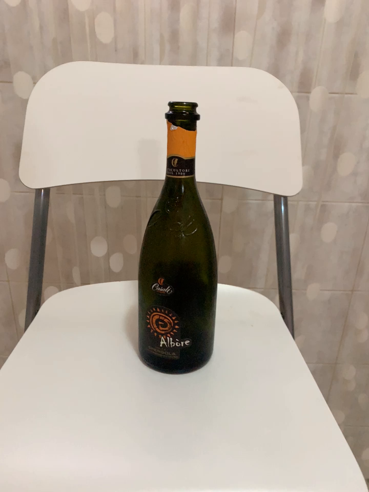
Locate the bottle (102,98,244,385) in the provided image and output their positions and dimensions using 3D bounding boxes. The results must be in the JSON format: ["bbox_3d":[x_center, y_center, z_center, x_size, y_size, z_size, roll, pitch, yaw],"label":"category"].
[{"bbox_3d":[-0.010,-0.006,0.394,0.101,0.269,0.093,2,23,-1],"label":"bottle"}]
